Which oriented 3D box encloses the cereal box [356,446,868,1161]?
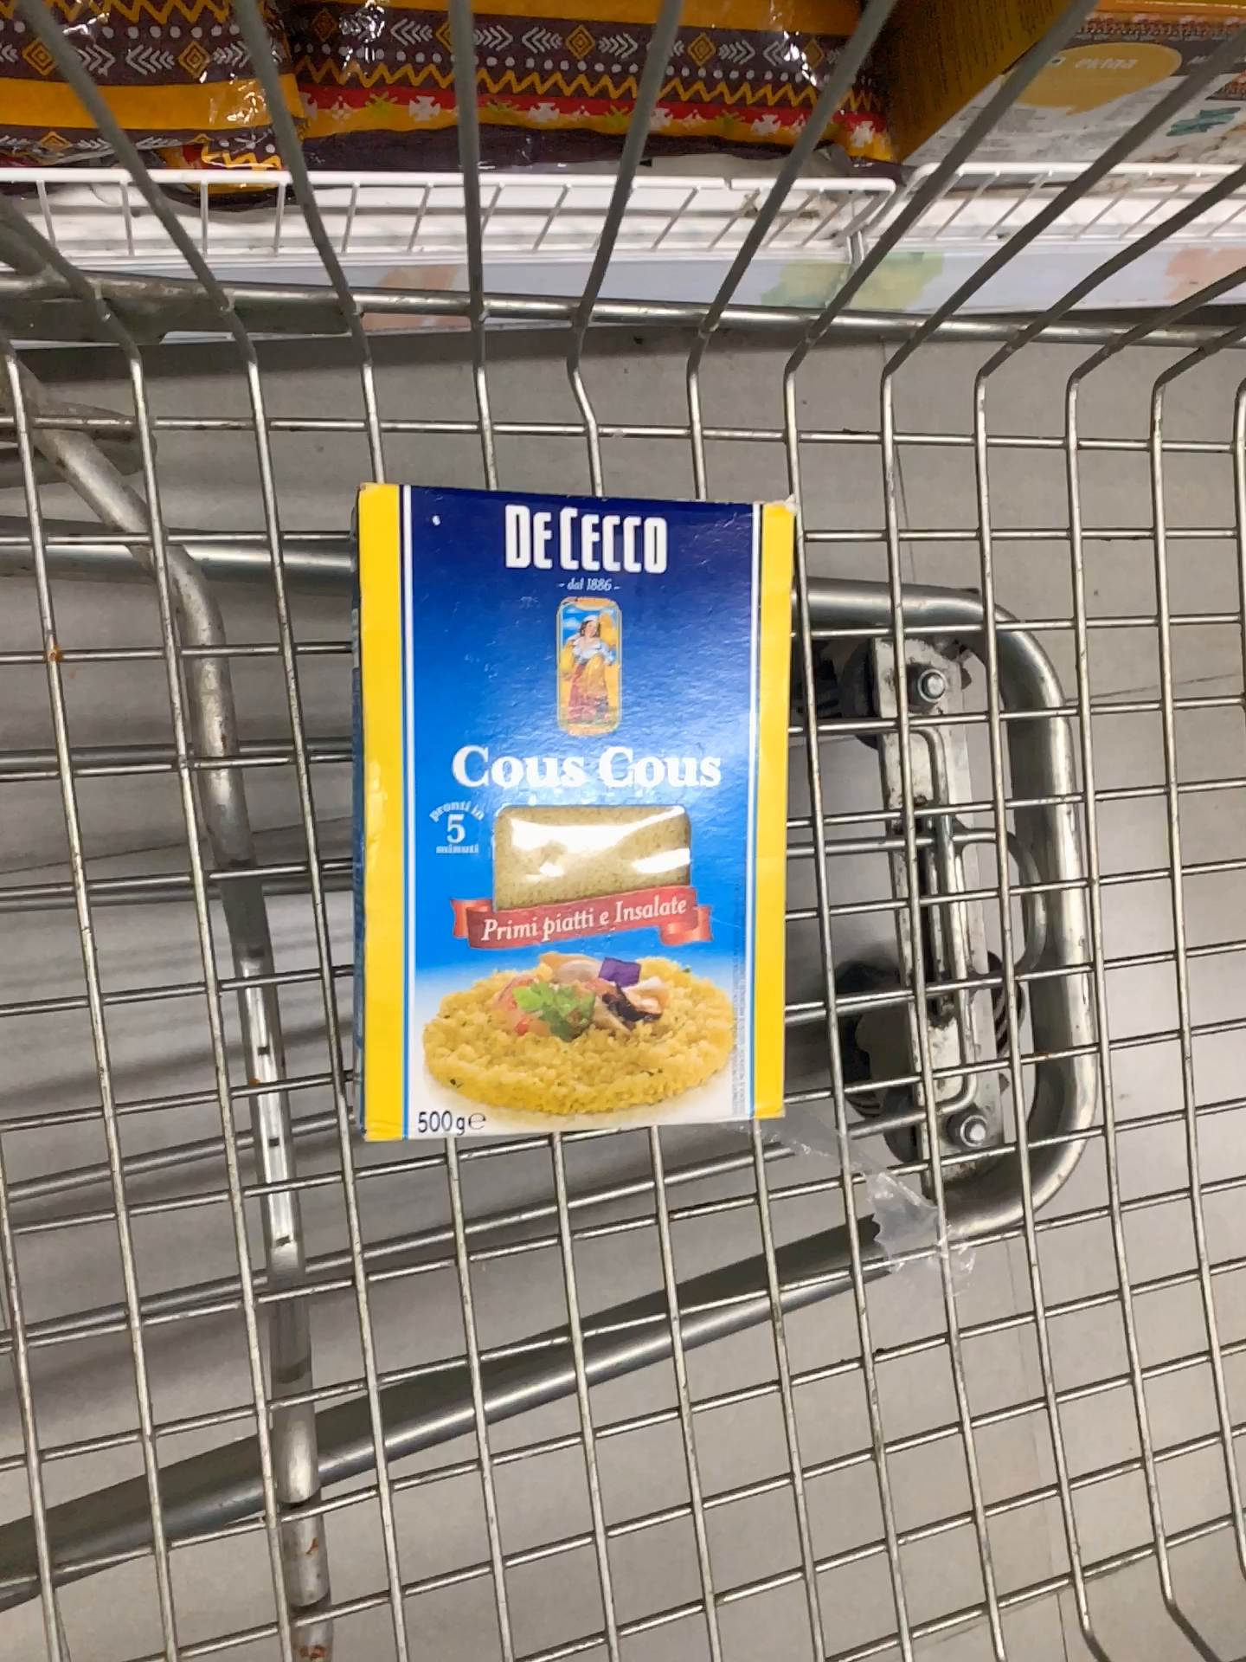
[{"bbox_3d":[-0.005,-0.007,0.323,0.120,0.050,0.160,-1,93,-12],"label":"cereal box"}]
